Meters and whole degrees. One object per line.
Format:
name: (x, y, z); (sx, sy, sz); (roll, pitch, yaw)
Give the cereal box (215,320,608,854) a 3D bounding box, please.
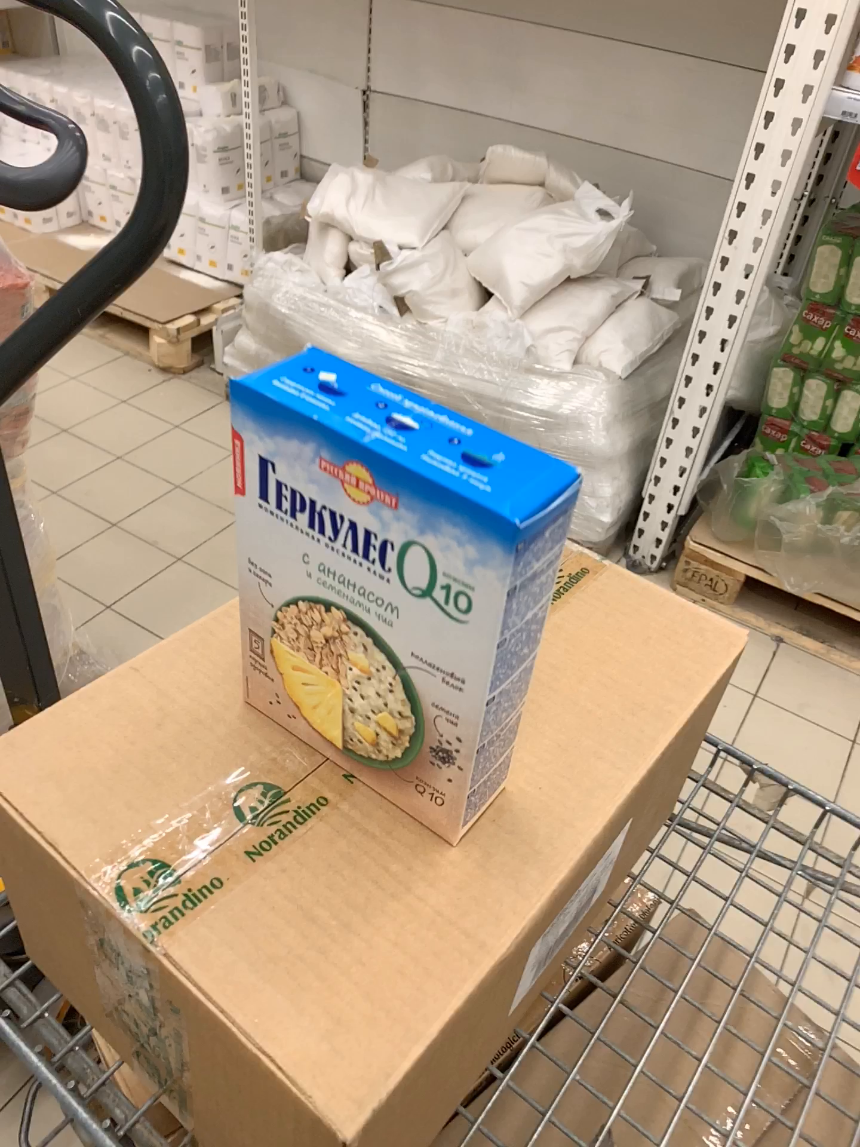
cereal box: (-0.020, 0.011, 0.399); (0.150, 0.199, 0.050); (29, 44, 24)
